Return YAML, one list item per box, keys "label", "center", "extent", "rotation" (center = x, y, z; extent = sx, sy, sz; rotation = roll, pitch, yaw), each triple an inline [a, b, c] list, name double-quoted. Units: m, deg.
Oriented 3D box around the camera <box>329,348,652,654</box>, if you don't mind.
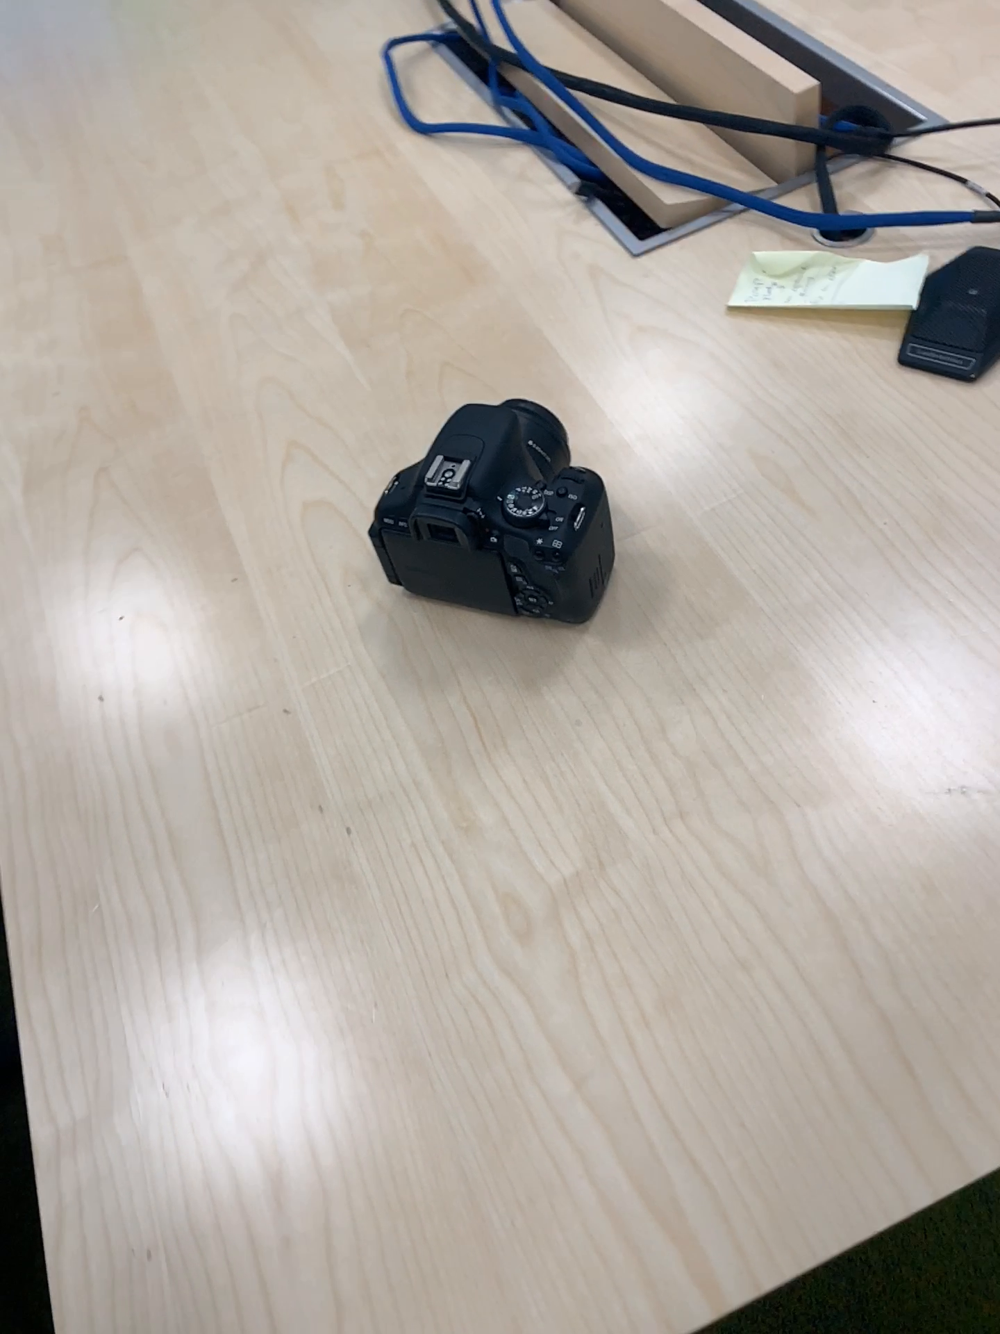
- label: "camera"
  center: [0.002, -0.100, 0.607]
  extent: [0.140, 0.100, 0.123]
  rotation: [14, 59, 20]
